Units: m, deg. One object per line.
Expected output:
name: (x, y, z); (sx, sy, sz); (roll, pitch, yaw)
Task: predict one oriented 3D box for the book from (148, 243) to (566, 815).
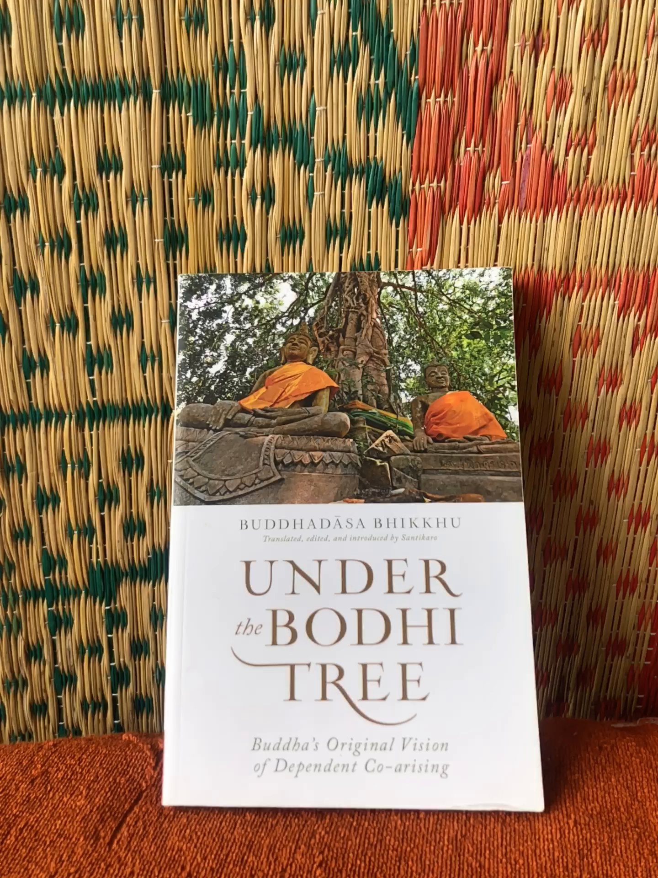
book: (0.009, 0.033, 0.313); (0.160, 0.230, 0.030); (-1, -10, 2)
